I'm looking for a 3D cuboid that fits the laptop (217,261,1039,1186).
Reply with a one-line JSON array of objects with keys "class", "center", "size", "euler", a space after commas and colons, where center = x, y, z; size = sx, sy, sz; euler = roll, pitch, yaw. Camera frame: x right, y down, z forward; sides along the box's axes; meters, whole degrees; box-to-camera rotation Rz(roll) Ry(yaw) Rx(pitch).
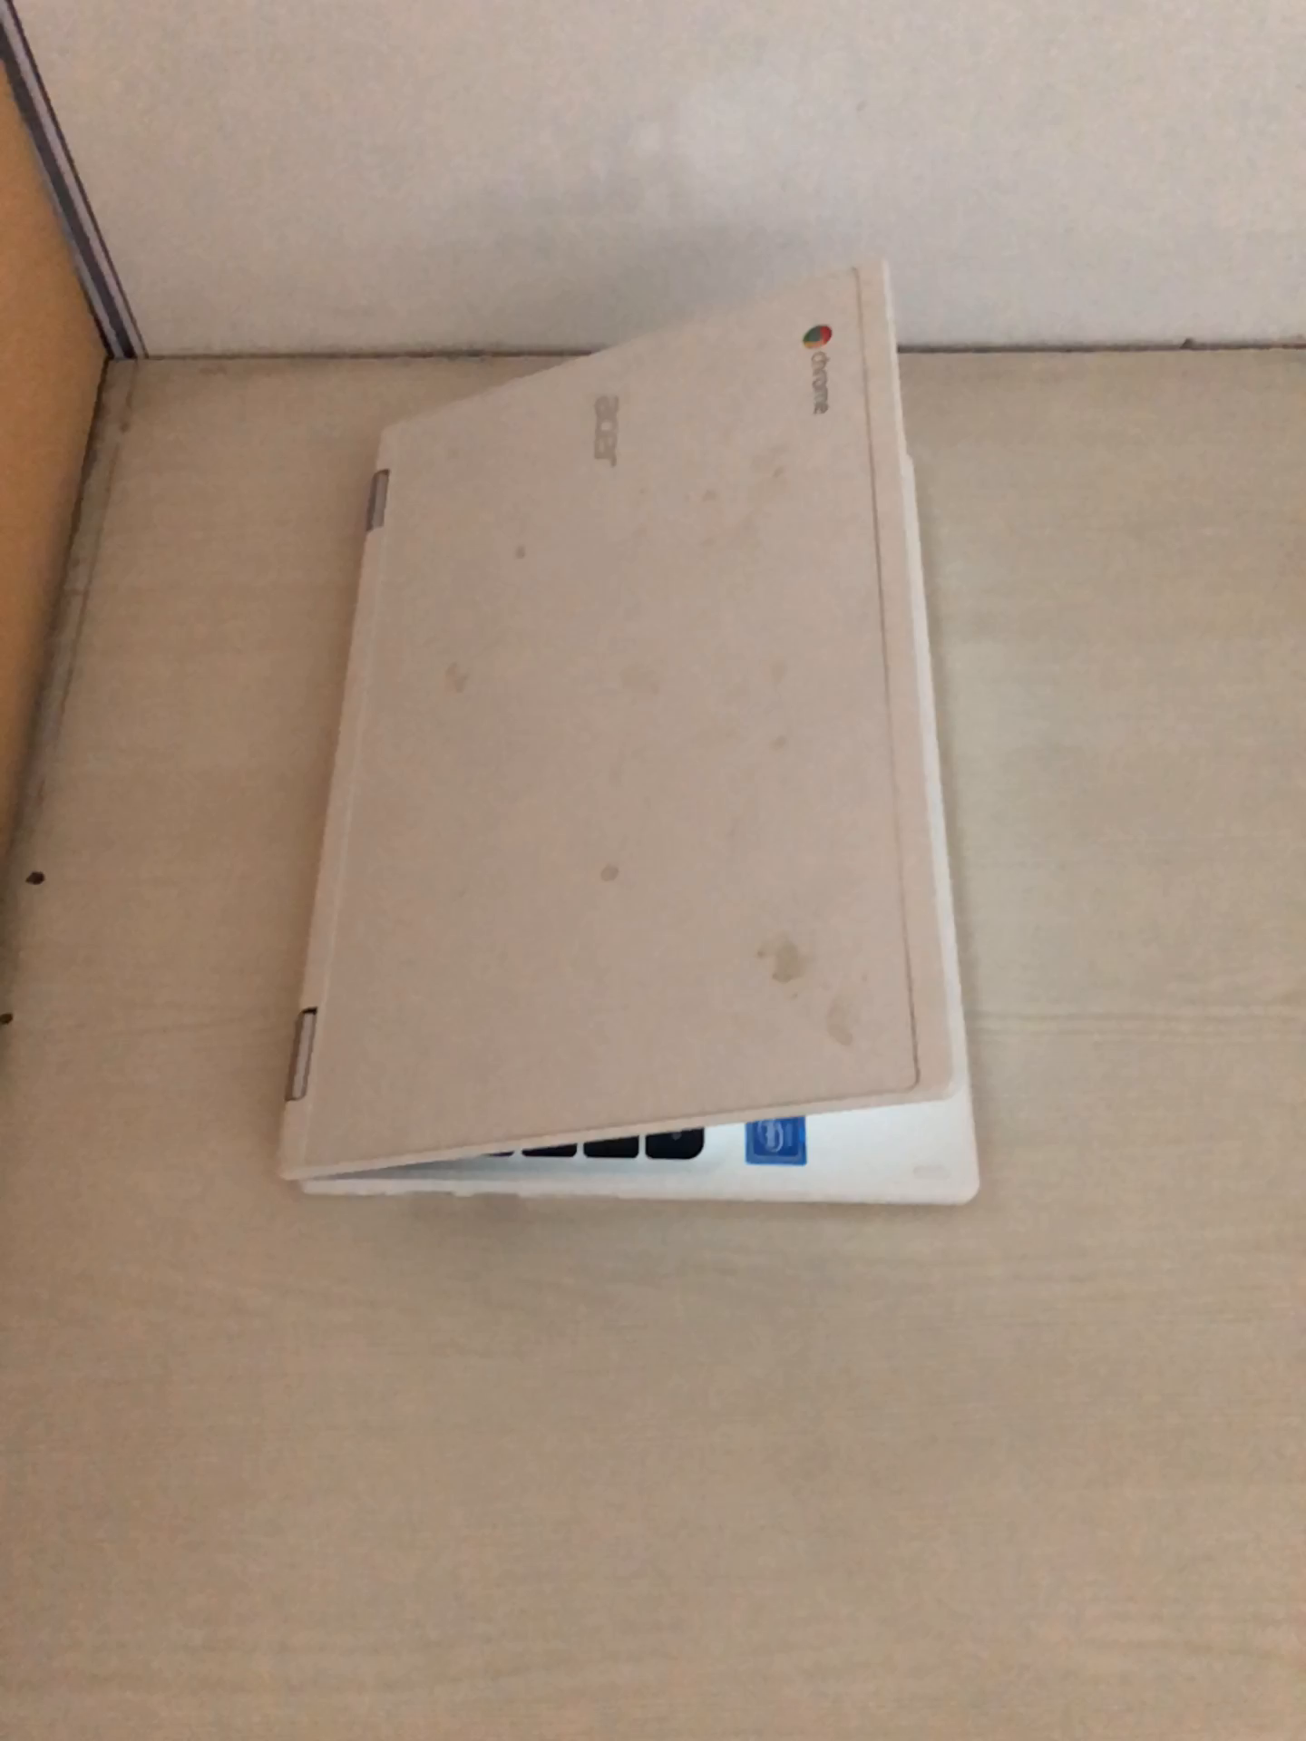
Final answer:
[{"class": "laptop", "center": [-0.004, -0.055, 0.457], "size": [0.200, 0.092, 0.284], "euler": [0, 63, 2]}]
